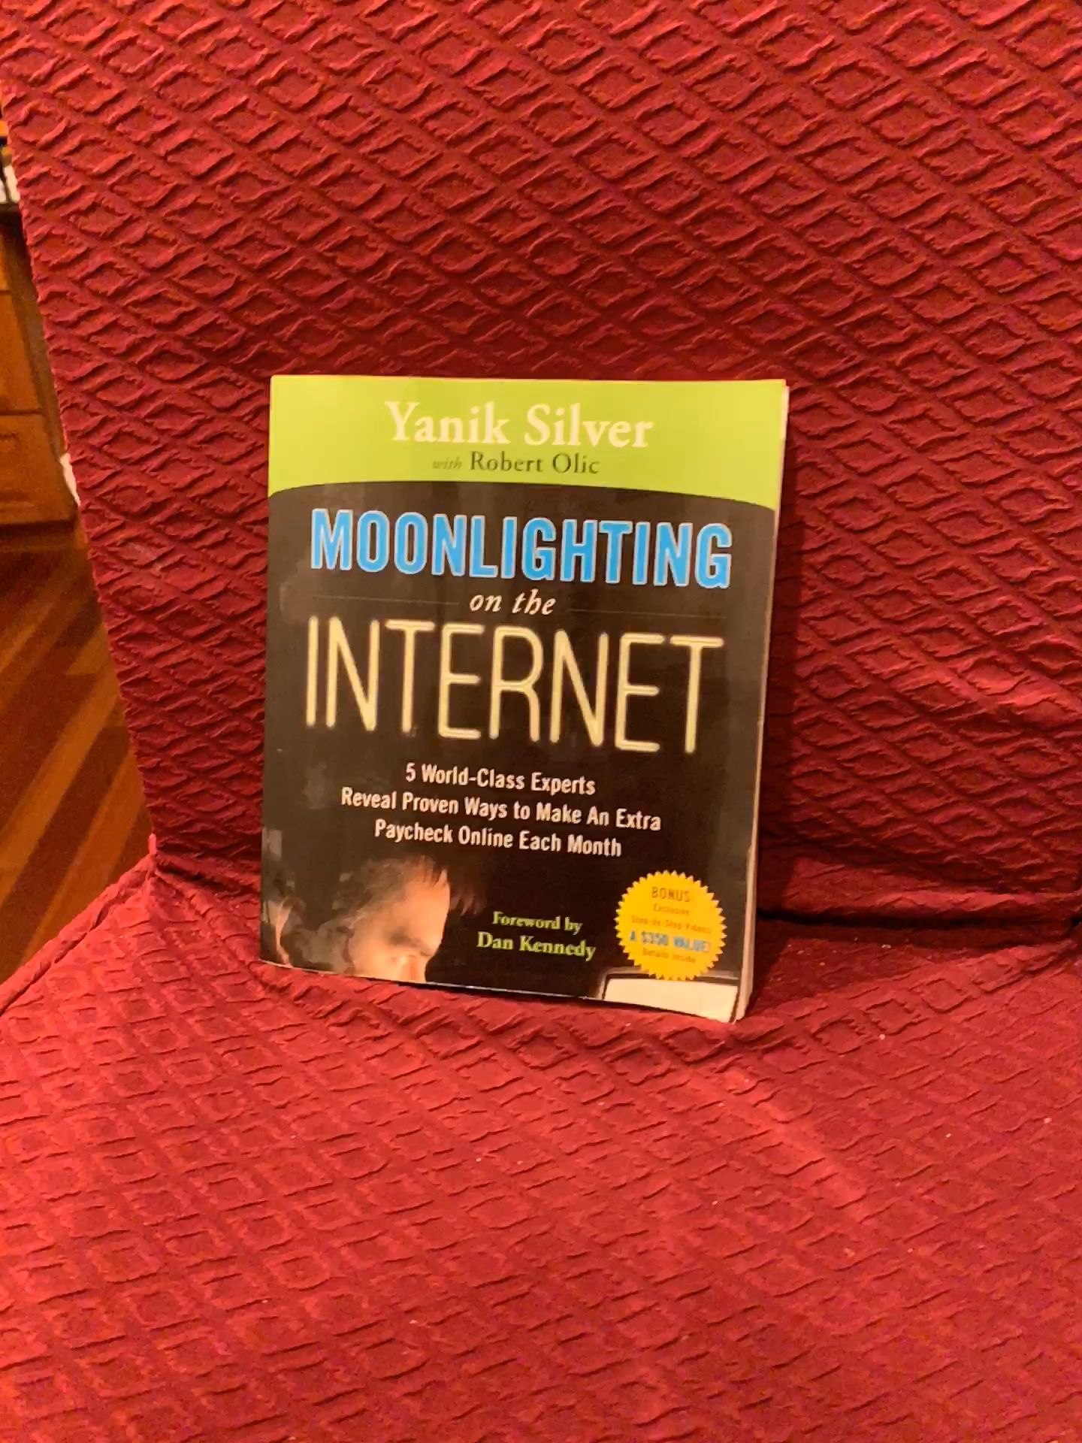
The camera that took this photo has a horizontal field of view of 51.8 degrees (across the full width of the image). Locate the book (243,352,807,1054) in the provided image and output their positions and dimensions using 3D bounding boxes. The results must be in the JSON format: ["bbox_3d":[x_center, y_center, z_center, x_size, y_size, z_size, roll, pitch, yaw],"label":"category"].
[{"bbox_3d":[-0.010,-0.010,0.419,0.200,0.240,0.040,3,7,12],"label":"book"}]
